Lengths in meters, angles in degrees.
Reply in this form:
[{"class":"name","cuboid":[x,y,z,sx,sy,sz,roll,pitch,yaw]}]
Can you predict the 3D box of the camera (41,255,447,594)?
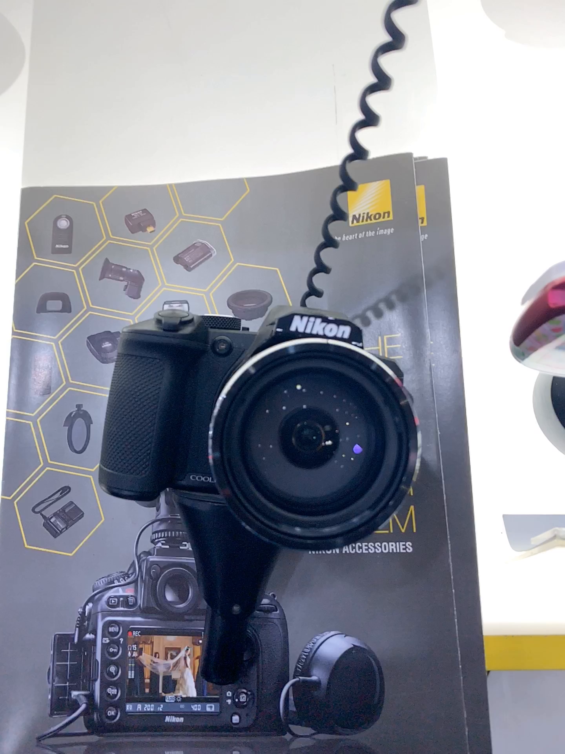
[{"class":"camera","cuboid":[-0.010,0.012,0.224,0.120,0.080,0.090,8,92,8]}]
